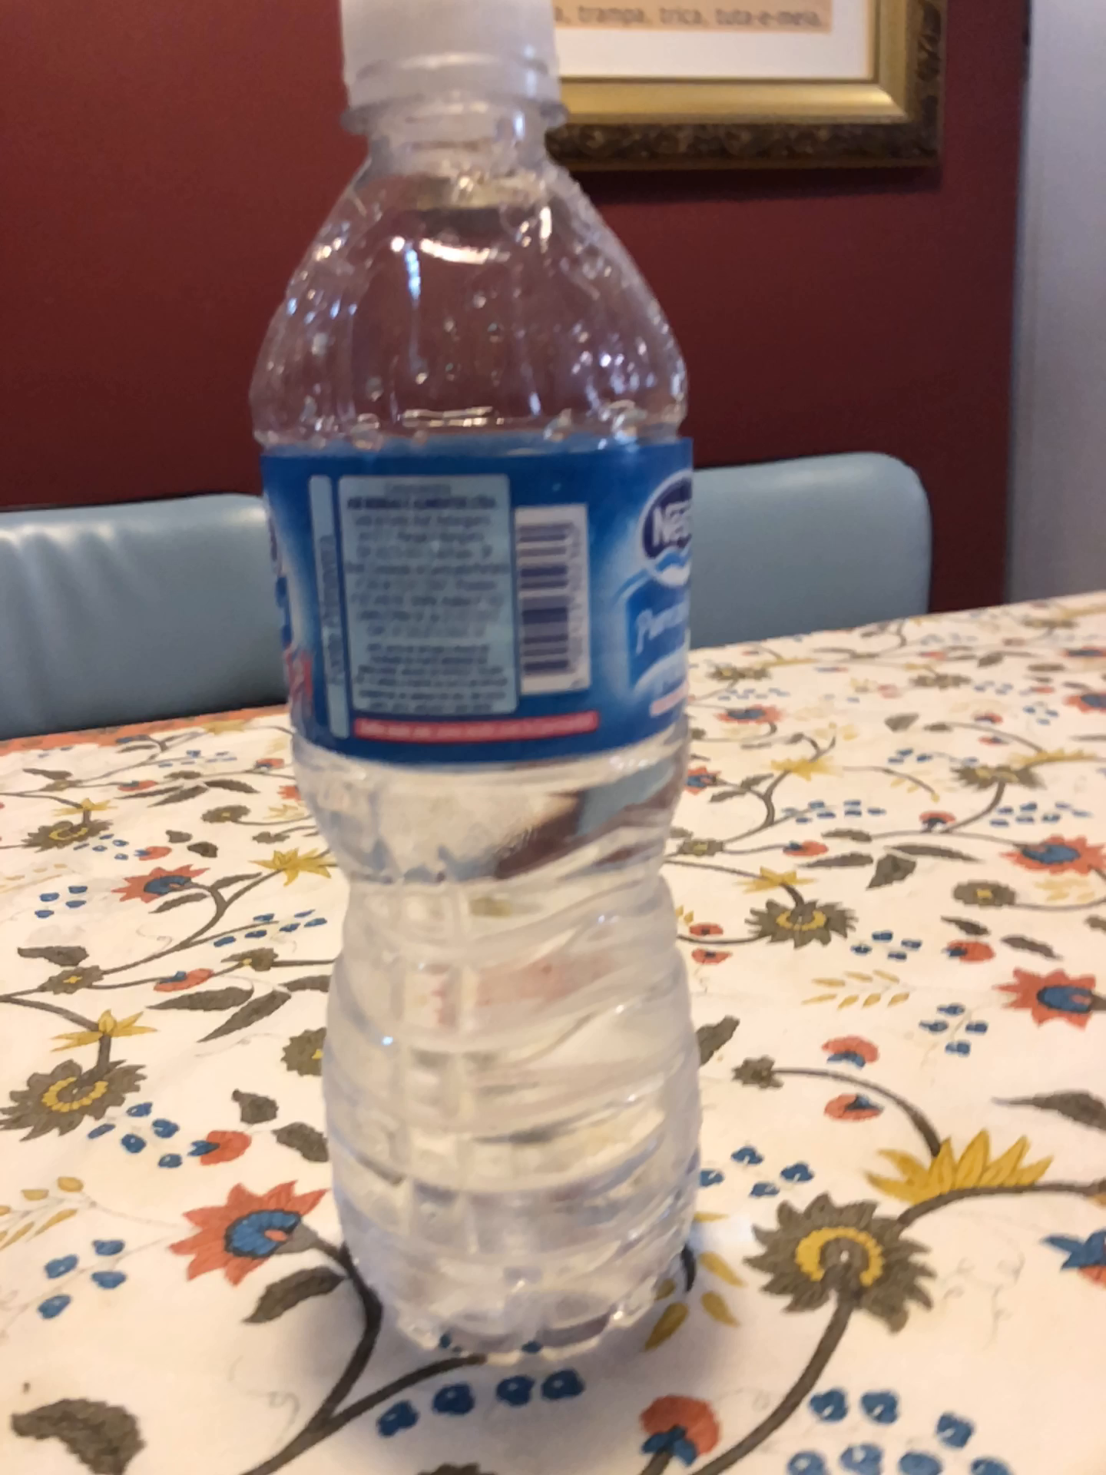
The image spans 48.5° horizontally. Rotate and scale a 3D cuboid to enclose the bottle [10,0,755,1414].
[{"bbox_3d":[-0.012,-0.008,0.179,0.070,0.189,0.060,1,17,17],"label":"bottle"}]
